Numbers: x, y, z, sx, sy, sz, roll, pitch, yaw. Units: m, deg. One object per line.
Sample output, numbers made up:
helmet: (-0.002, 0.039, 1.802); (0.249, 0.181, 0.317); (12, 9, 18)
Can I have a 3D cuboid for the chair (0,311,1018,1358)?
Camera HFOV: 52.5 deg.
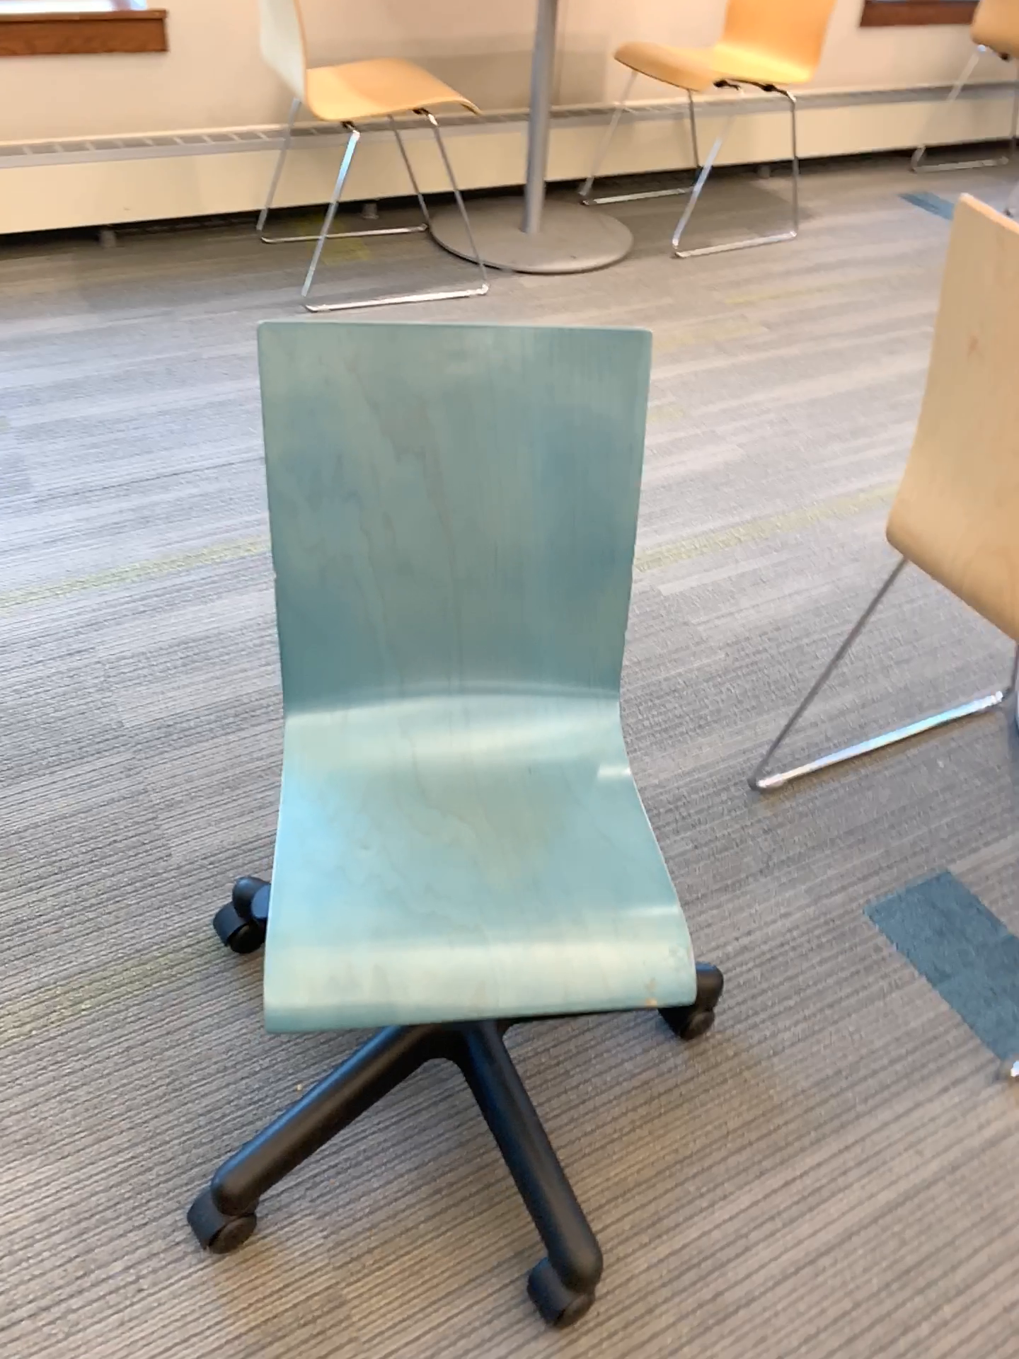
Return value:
chair: (-0.036, 0.128, 0.914); (0.600, 0.667, 0.613); (-3, 42, -9)
